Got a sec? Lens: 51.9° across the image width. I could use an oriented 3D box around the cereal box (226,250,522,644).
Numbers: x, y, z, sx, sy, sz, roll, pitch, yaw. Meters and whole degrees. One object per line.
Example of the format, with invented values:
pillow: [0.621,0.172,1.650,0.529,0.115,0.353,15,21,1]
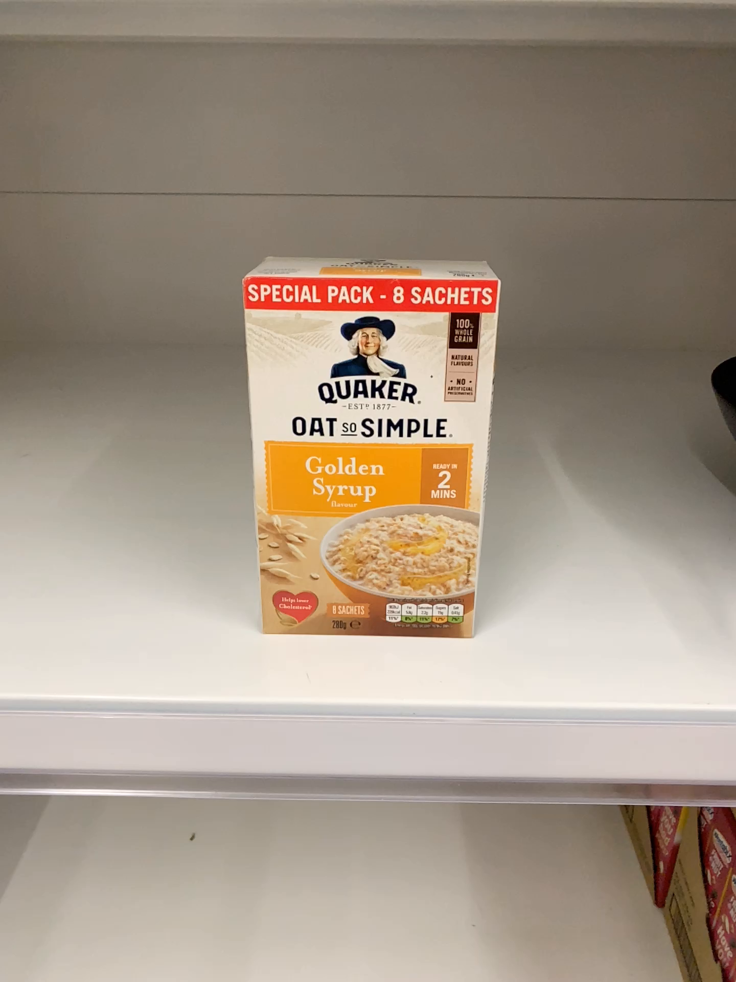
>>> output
cereal box: [0.002,-0.023,0.429,0.140,0.208,0.071,1,22,0]
